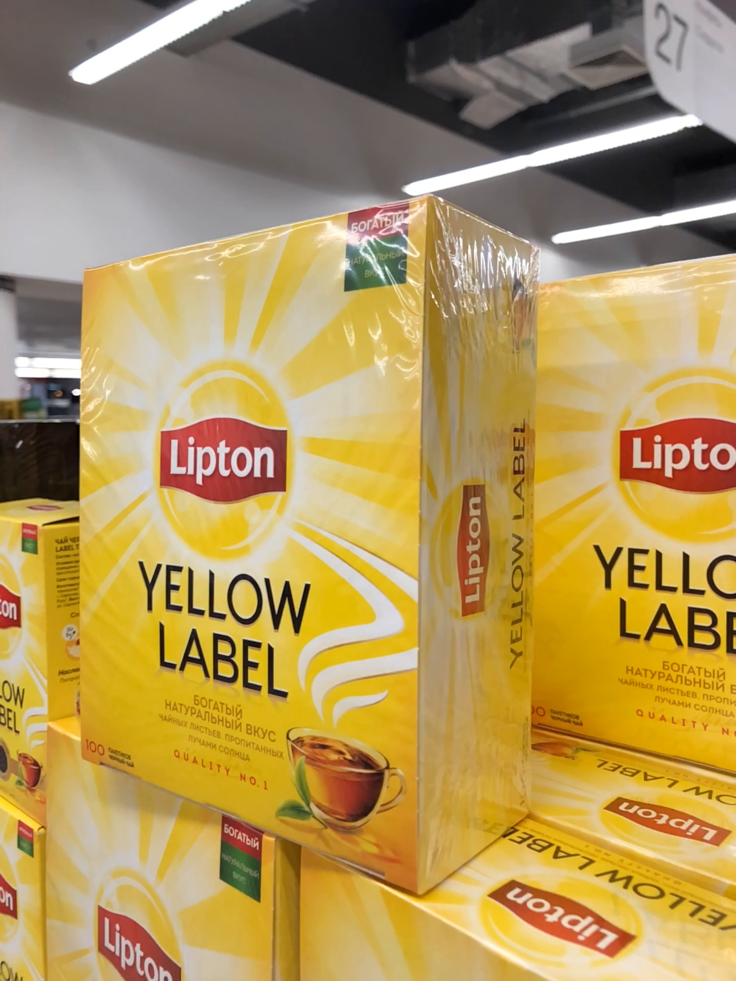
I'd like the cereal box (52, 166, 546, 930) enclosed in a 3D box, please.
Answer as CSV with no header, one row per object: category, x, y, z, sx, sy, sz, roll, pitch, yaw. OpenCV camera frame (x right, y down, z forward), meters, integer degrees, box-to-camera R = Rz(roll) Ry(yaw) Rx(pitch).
cereal box,-0.027,0.010,0.252,0.140,0.170,0.070,2,2,38
